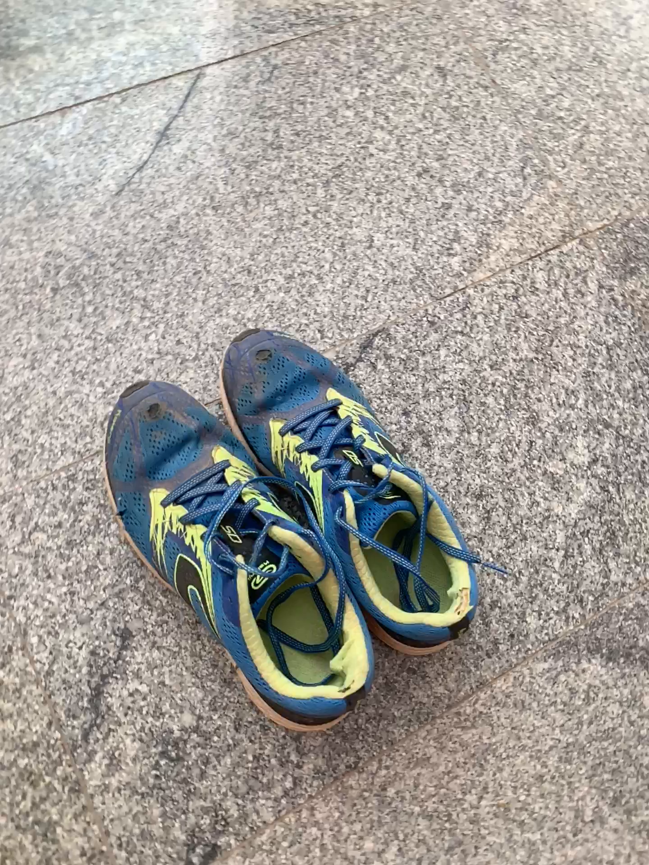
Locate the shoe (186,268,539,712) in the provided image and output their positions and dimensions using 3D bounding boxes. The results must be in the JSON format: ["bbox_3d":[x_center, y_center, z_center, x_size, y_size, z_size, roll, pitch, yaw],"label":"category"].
[{"bbox_3d":[0.019,0.035,0.480,0.110,0.060,0.290,-28,82,-18],"label":"shoe"}]

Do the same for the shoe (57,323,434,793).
[{"bbox_3d":[-0.059,0.076,0.447,0.100,0.060,0.290,-31,82,-28],"label":"shoe"}]
